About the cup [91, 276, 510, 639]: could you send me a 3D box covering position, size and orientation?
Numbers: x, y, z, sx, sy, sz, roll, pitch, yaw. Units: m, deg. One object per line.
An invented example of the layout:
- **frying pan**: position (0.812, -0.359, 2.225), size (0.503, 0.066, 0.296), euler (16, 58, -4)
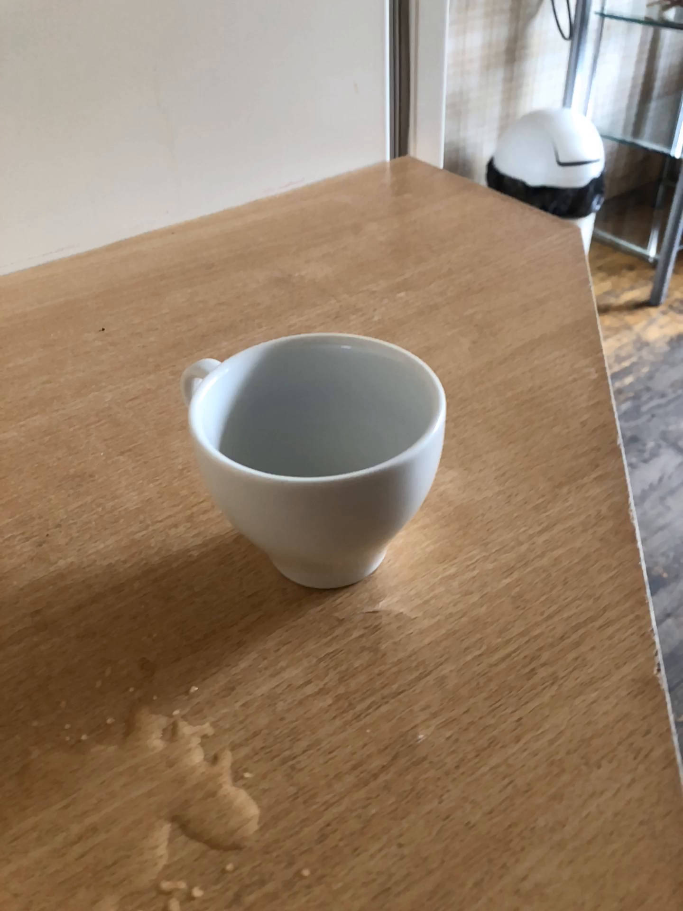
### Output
- **cup**: position (-0.013, -0.007, 0.252), size (0.104, 0.050, 0.080), euler (27, 49, 31)
